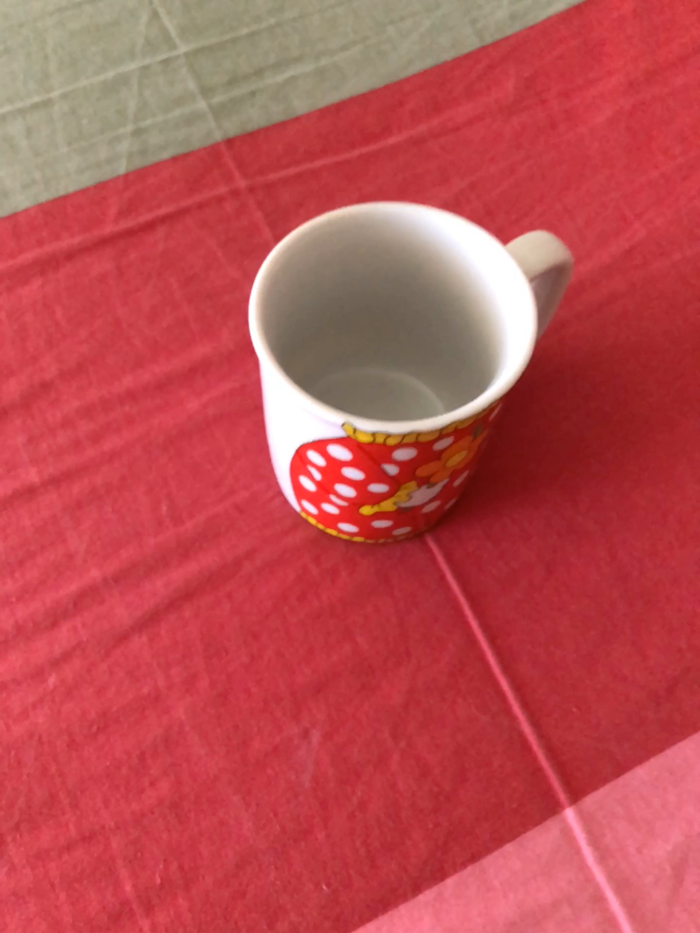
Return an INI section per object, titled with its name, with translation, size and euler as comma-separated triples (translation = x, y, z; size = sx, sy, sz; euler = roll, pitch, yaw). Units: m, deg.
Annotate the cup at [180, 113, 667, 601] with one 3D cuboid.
[cup]
translation = 0.021, -0.036, 0.270
size = 0.116, 0.086, 0.089
euler = -39, 72, -20
